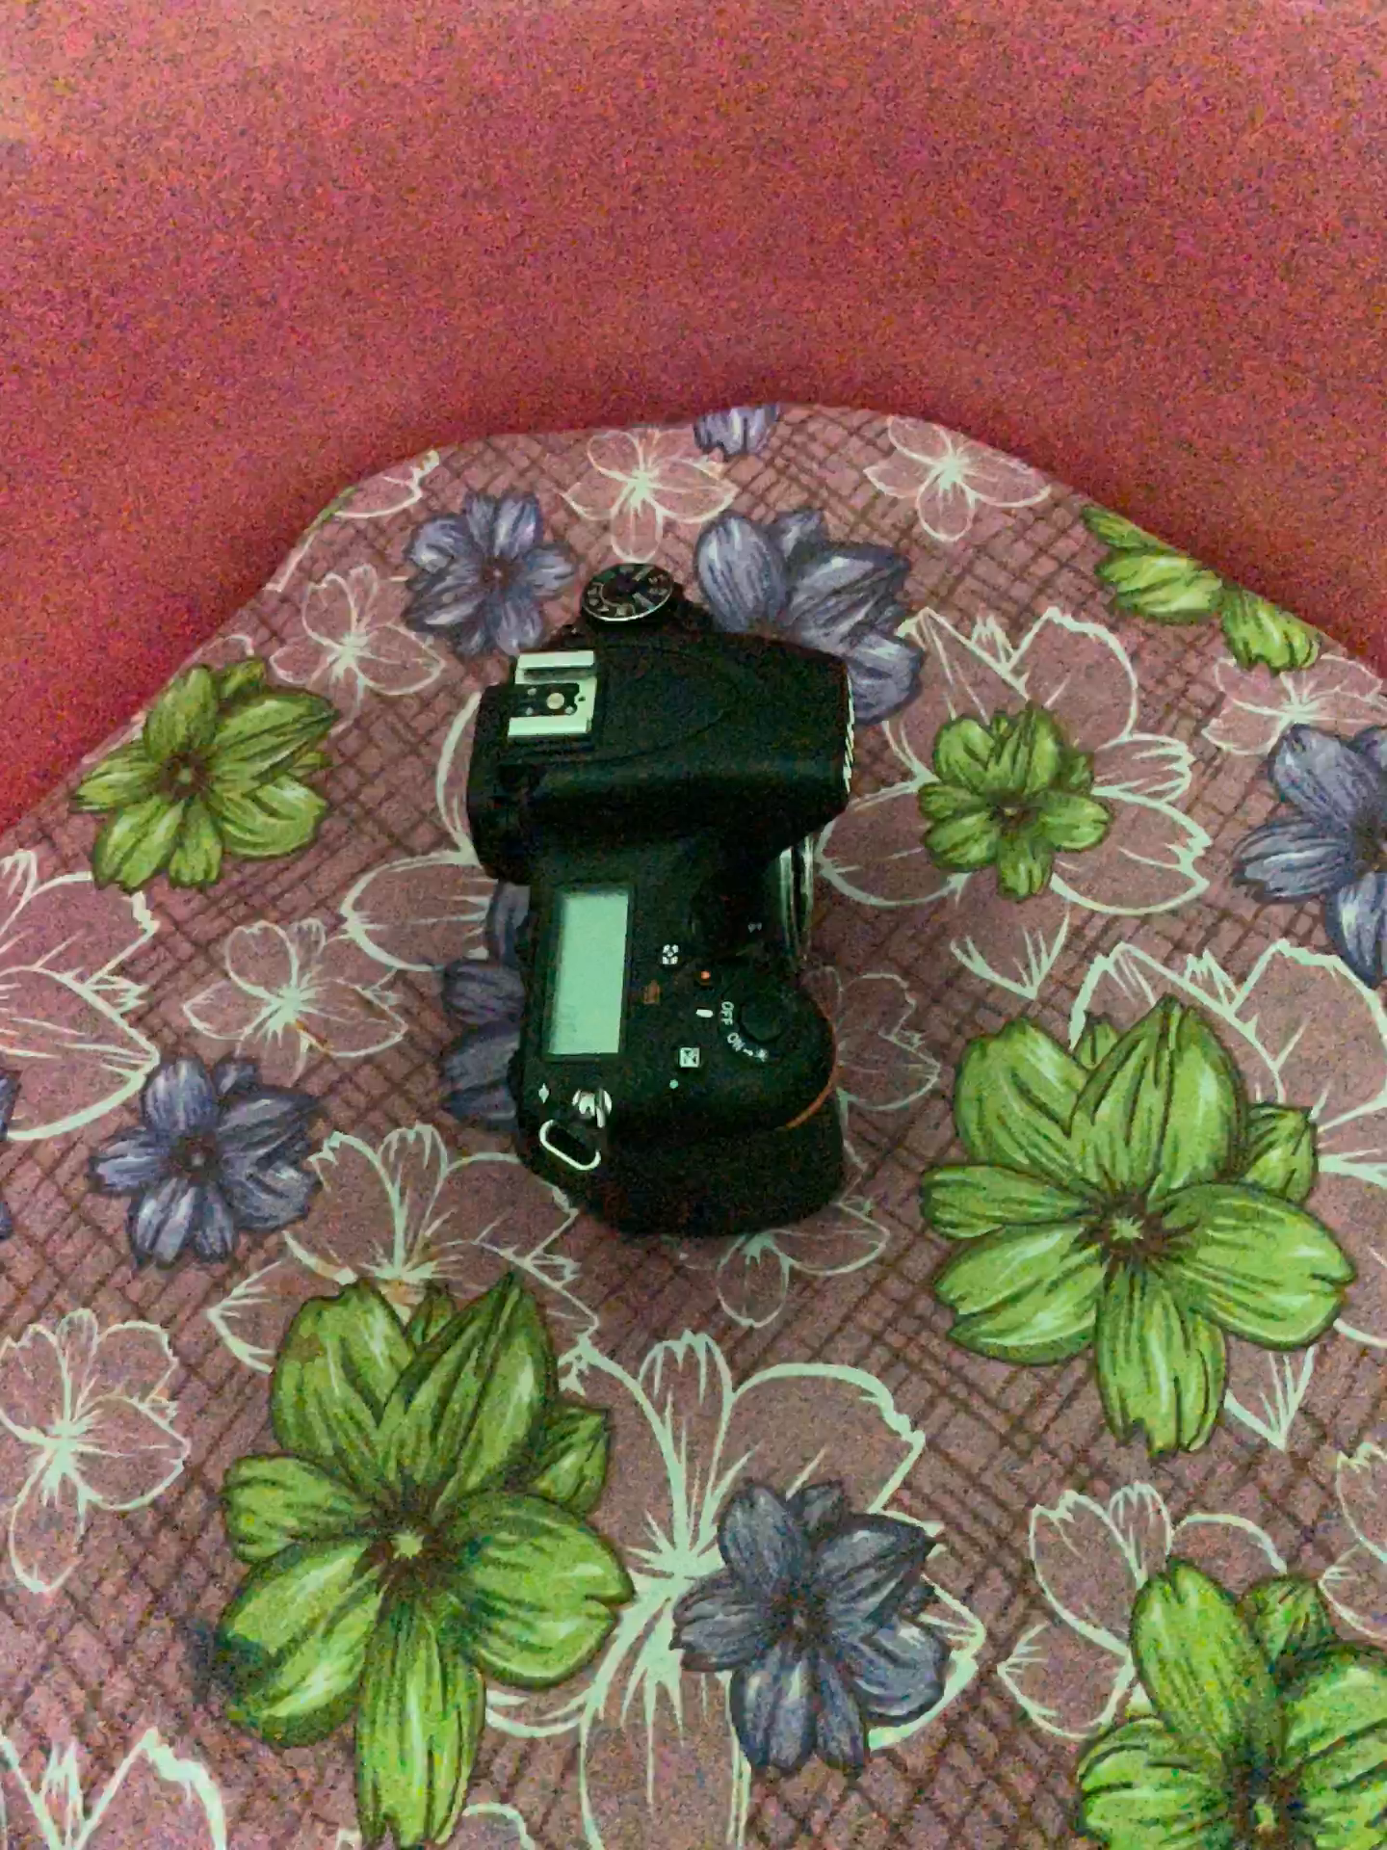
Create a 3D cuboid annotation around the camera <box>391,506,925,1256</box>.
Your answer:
[{"bbox_3d":[-0.005,-0.006,0.316,0.092,0.090,0.140,0,66,2],"label":"camera"}]
